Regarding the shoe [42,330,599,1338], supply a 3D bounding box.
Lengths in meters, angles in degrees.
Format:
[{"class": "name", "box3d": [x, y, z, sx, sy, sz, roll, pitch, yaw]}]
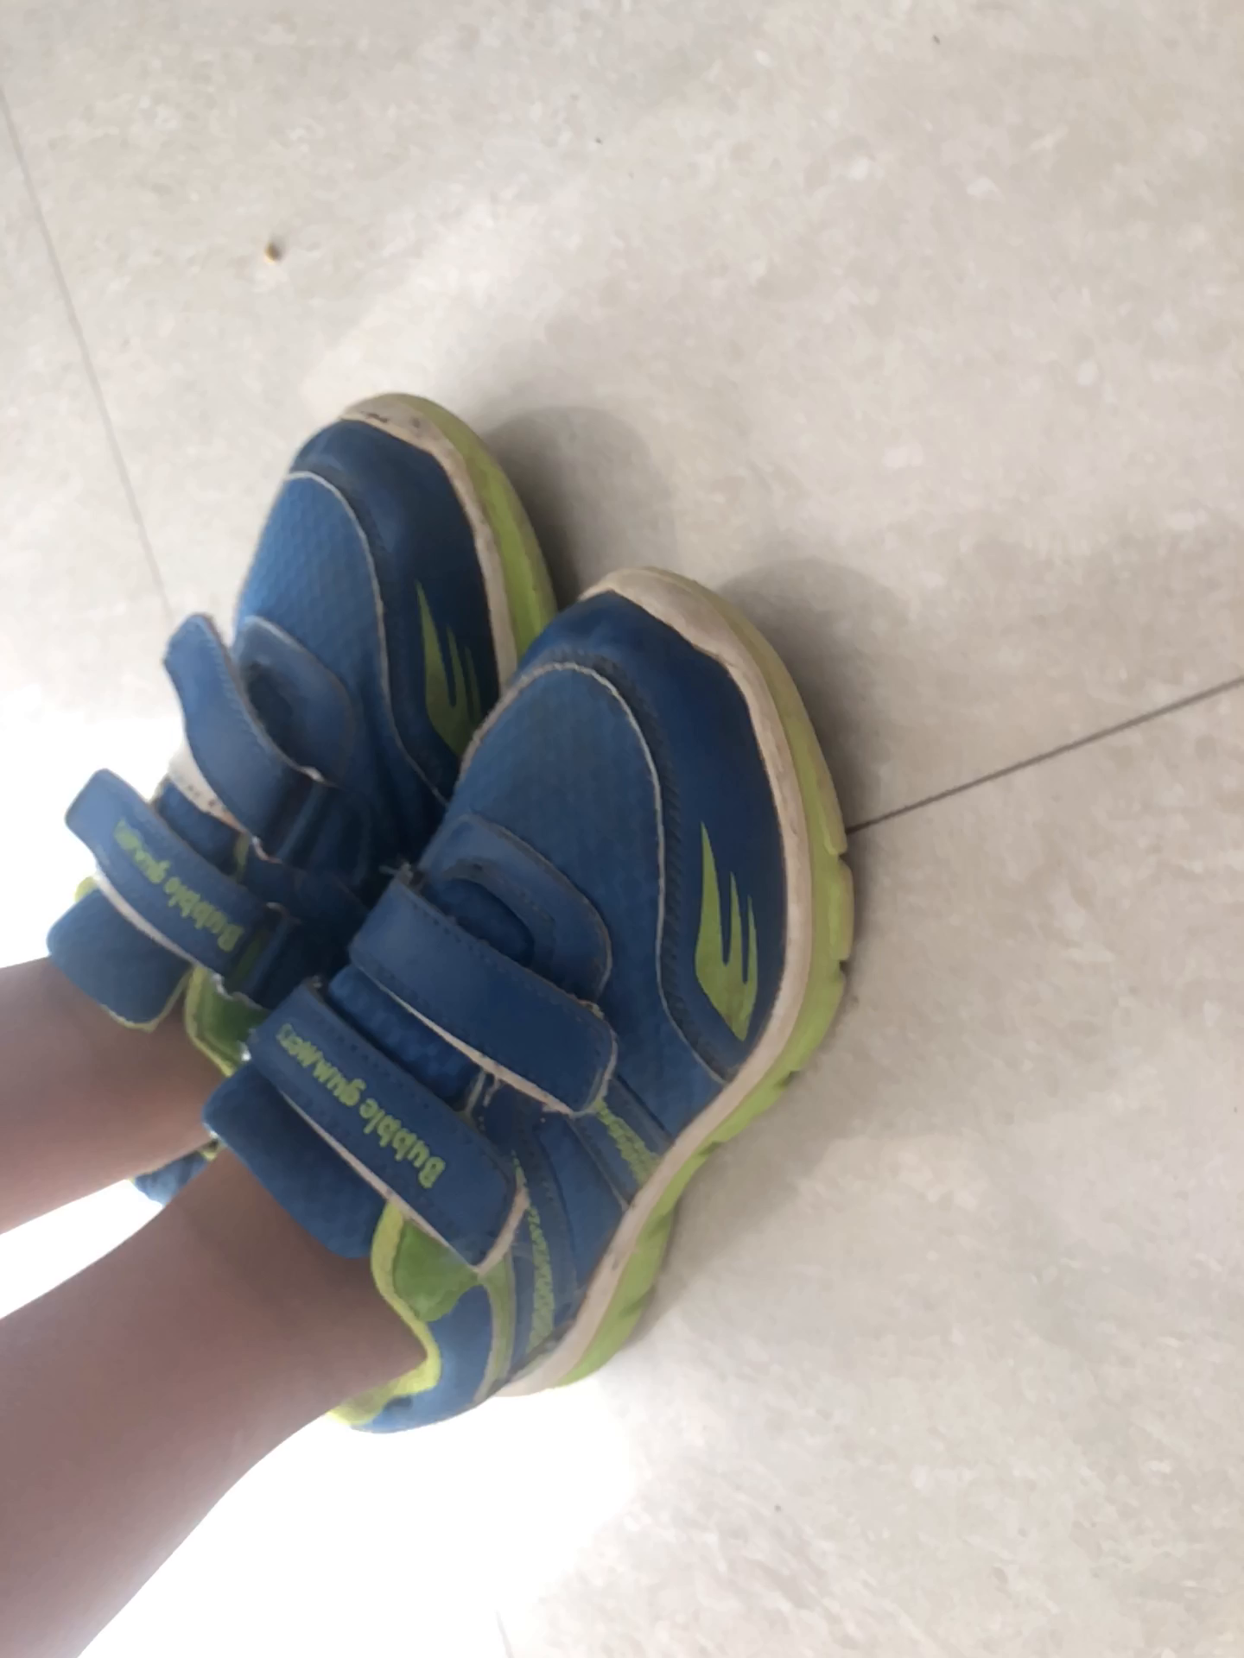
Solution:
[{"class": "shoe", "box3d": [-0.084, 0.004, 0.344, 0.090, 0.060, 0.220, 33, 119, 33]}]

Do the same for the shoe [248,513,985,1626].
[{"class": "shoe", "box3d": [-0.014, 0.053, 0.304, 0.090, 0.060, 0.220, 34, 120, 33]}]
